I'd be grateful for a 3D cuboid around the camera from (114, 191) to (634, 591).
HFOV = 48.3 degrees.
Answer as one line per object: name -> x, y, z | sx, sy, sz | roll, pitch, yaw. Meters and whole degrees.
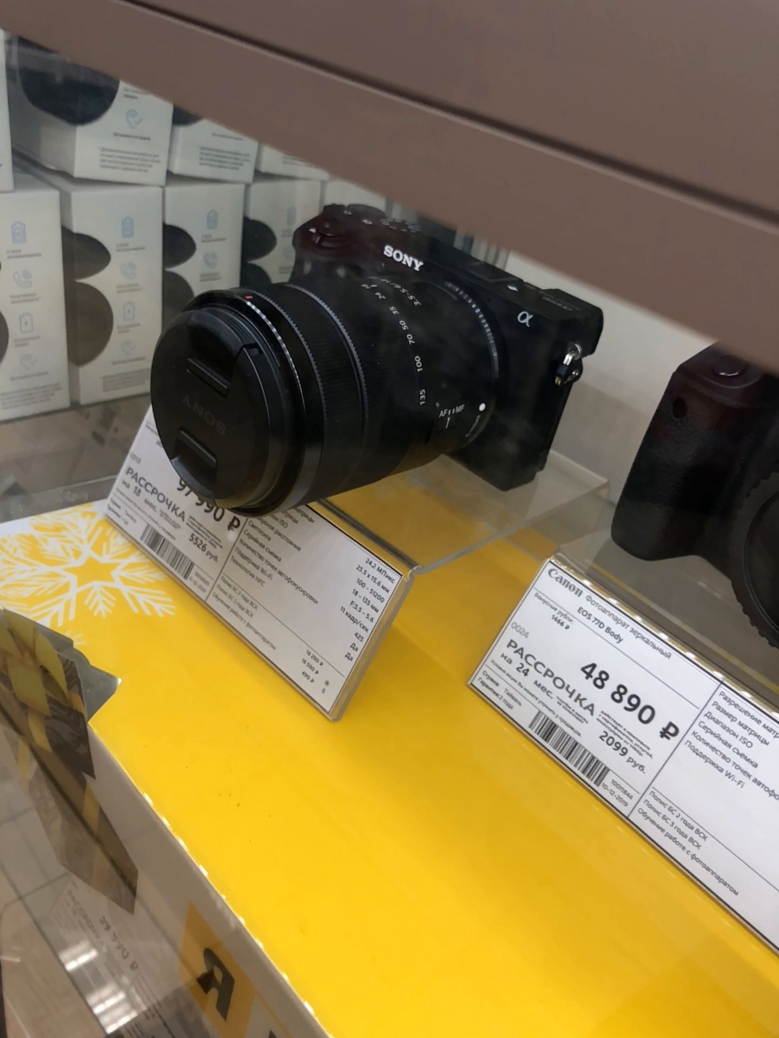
camera -> -0.011, -0.058, 0.316 | 0.123, 0.080, 0.130 | -16, 42, -39
